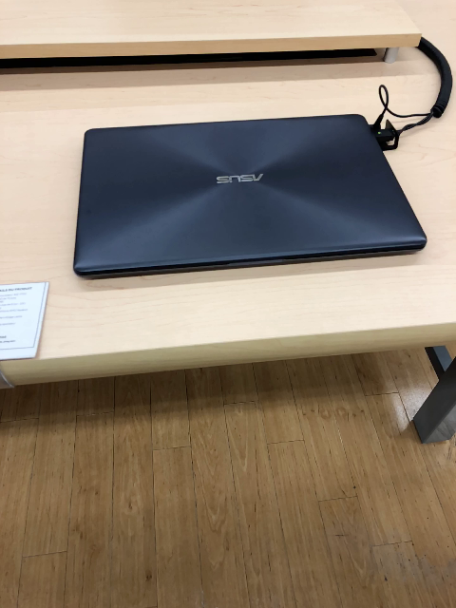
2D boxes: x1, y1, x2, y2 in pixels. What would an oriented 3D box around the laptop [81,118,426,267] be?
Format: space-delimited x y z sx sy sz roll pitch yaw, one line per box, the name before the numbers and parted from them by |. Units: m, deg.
laptop | 0.014 -0.138 0.565 0.345 0.002 0.229 -5 52 -5
